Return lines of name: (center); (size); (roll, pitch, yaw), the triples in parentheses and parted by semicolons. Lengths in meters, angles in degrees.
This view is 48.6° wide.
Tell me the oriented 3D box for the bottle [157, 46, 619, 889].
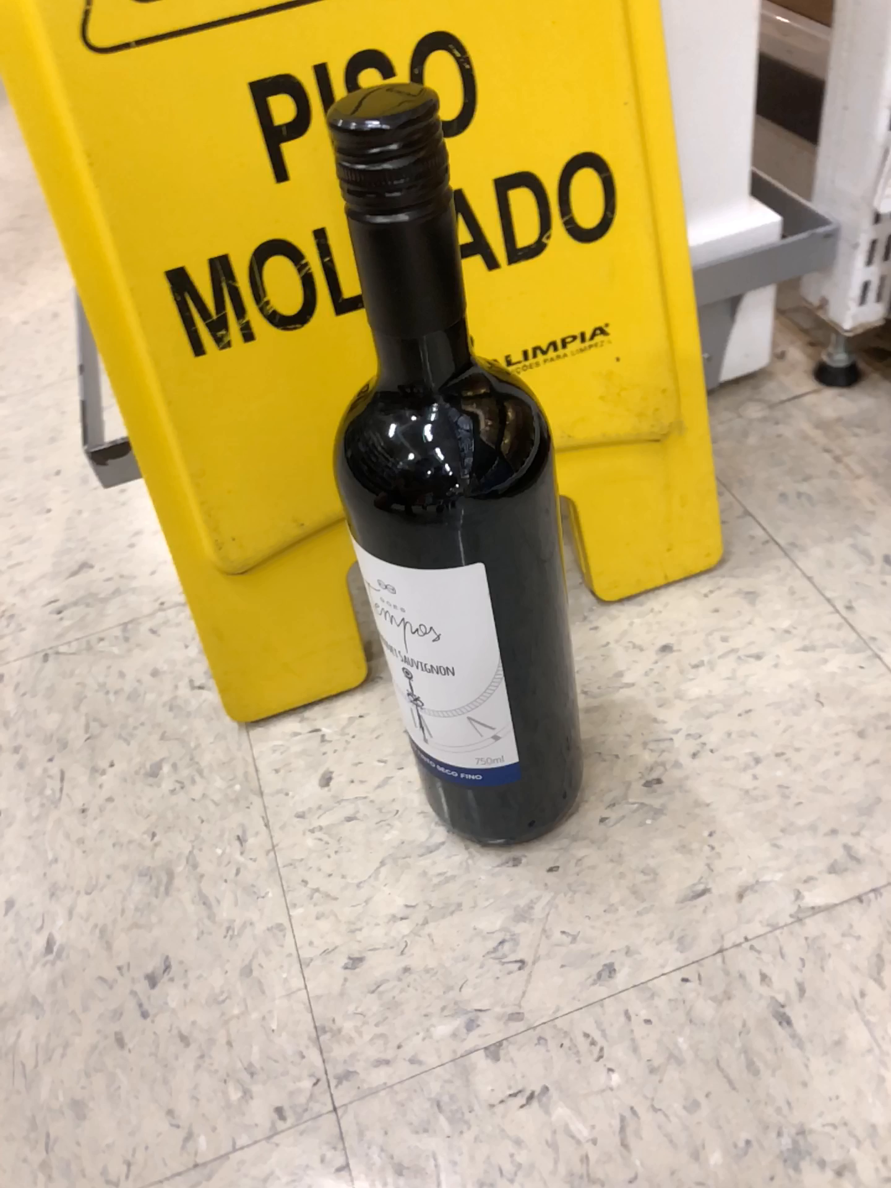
bottle: (0.002, -0.017, 0.341); (0.080, 0.288, 0.070); (28, 57, 34)
